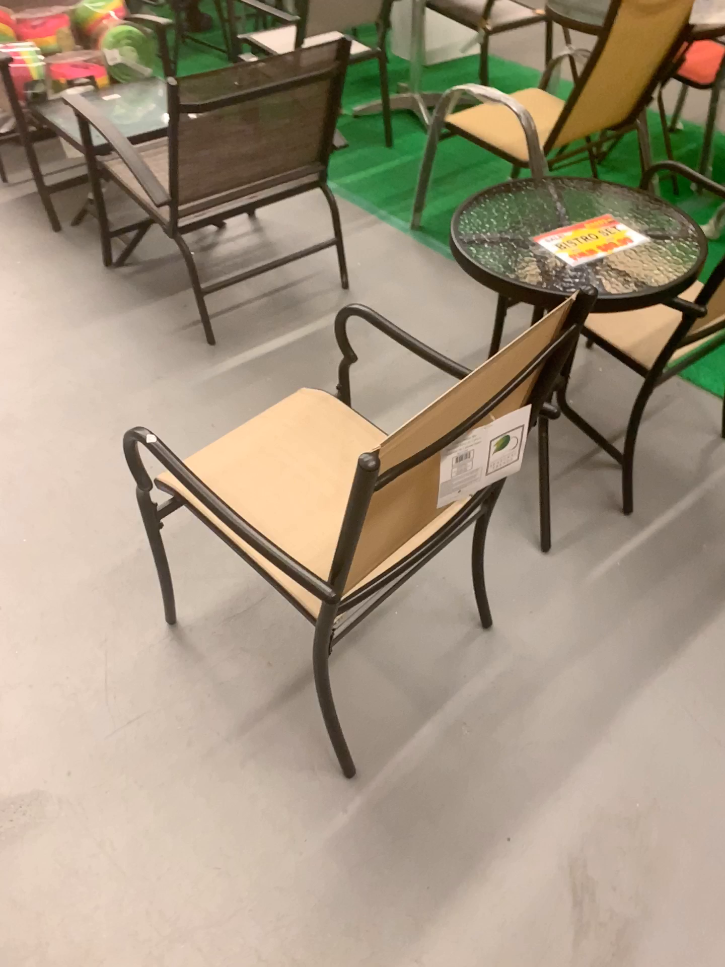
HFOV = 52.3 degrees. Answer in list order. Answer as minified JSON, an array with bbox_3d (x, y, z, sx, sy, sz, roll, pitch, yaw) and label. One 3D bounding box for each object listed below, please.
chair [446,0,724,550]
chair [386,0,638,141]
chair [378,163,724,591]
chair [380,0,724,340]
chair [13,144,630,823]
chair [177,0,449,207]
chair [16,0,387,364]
[{"bbox_3d":[0.689,-0.492,1.747,0.615,0.922,0.677,-32,53,-27],"label":"chair"},{"bbox_3d":[0.666,-2.350,3.635,0.676,0.872,0.888,-31,52,-26],"label":"chair"},{"bbox_3d":[0.416,-0.254,1.680,0.525,0.634,0.547,-32,53,-27],"label":"chair"},{"bbox_3d":[0.702,-1.277,2.507,0.806,0.982,1.028,-31,52,-26],"label":"chair"},{"bbox_3d":[-0.055,0.004,1.312,0.617,0.862,0.576,34,54,29],"label":"chair"},{"bbox_3d":[-0.210,-1.906,3.235,0.676,0.922,0.888,-31,52,-26],"label":"chair"},{"bbox_3d":[-0.473,-1.044,2.360,0.676,0.803,0.888,-31,52,-26],"label":"chair"}]
